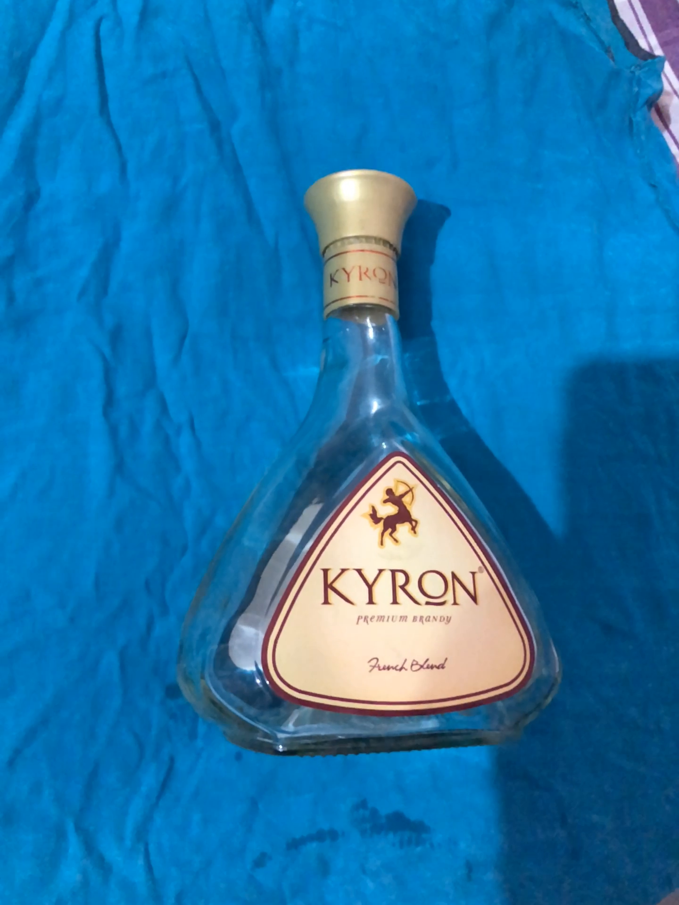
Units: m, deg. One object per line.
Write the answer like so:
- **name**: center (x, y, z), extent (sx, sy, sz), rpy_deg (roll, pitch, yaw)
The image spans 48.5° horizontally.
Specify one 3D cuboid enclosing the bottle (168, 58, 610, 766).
- **bottle**: center (0.012, -0.014, 0.305), extent (0.150, 0.080, 0.240), rpy_deg (2, 80, -13)
